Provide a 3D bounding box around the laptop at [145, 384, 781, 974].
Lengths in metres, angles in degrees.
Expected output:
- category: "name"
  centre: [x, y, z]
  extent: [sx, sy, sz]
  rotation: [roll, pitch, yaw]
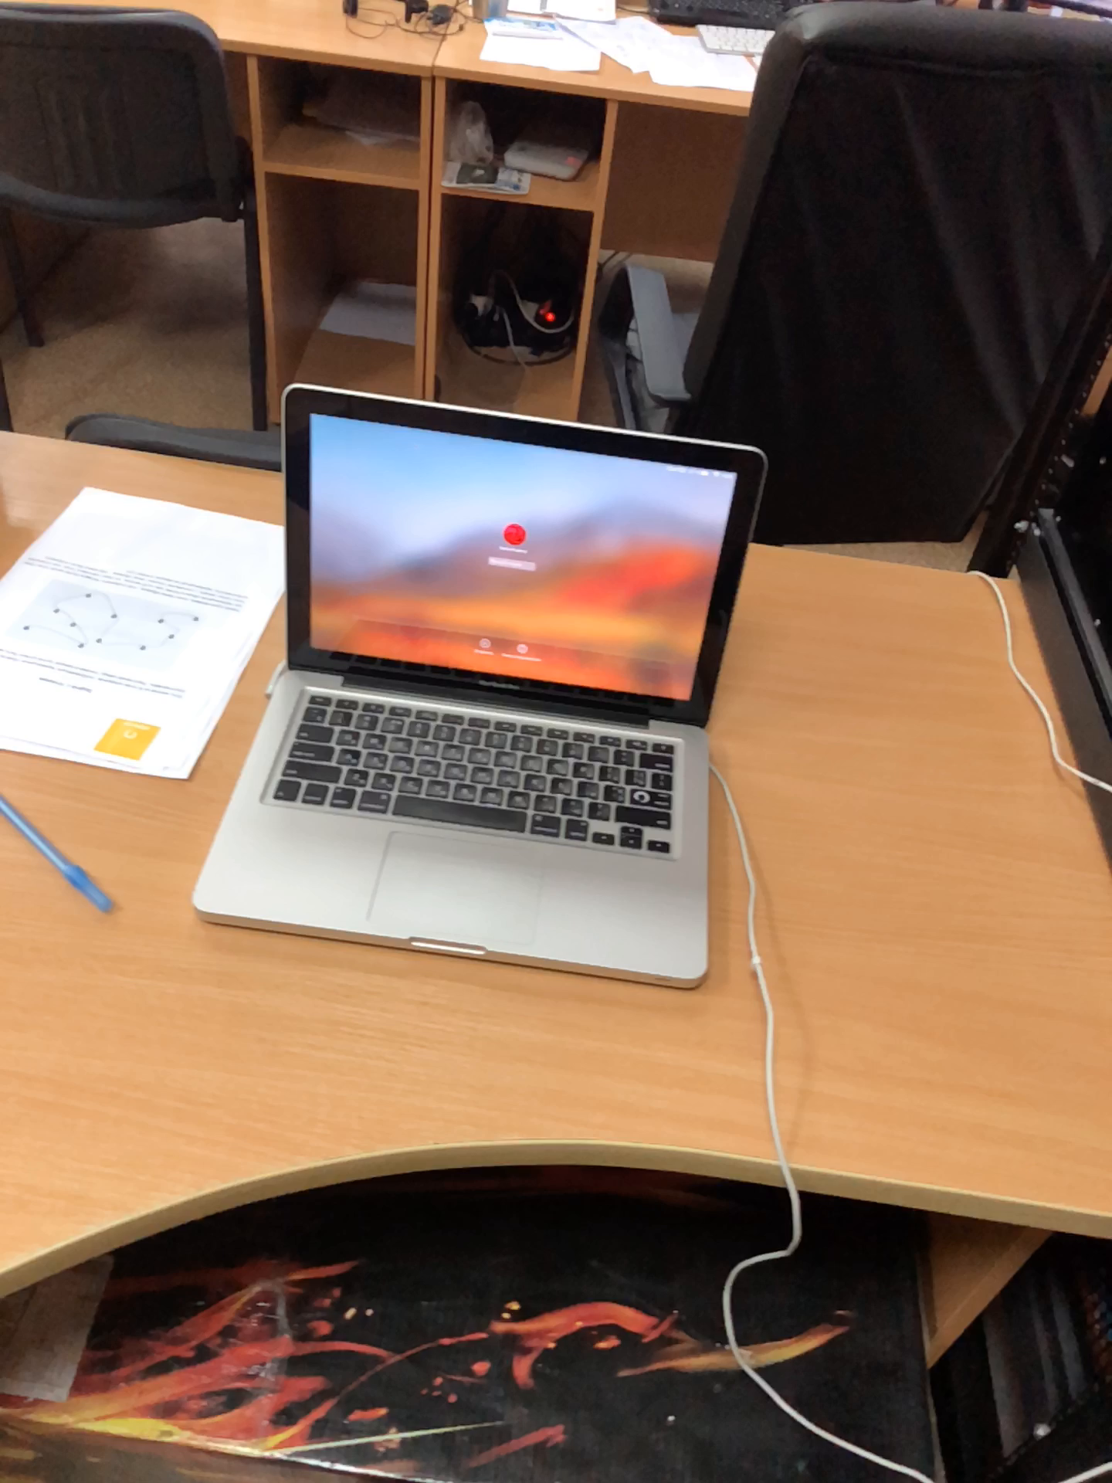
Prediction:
- category: "laptop"
  centre: [-0.043, -0.045, 0.769]
  extent: [0.315, 0.207, 0.267]
  rotation: [8, 44, -1]
